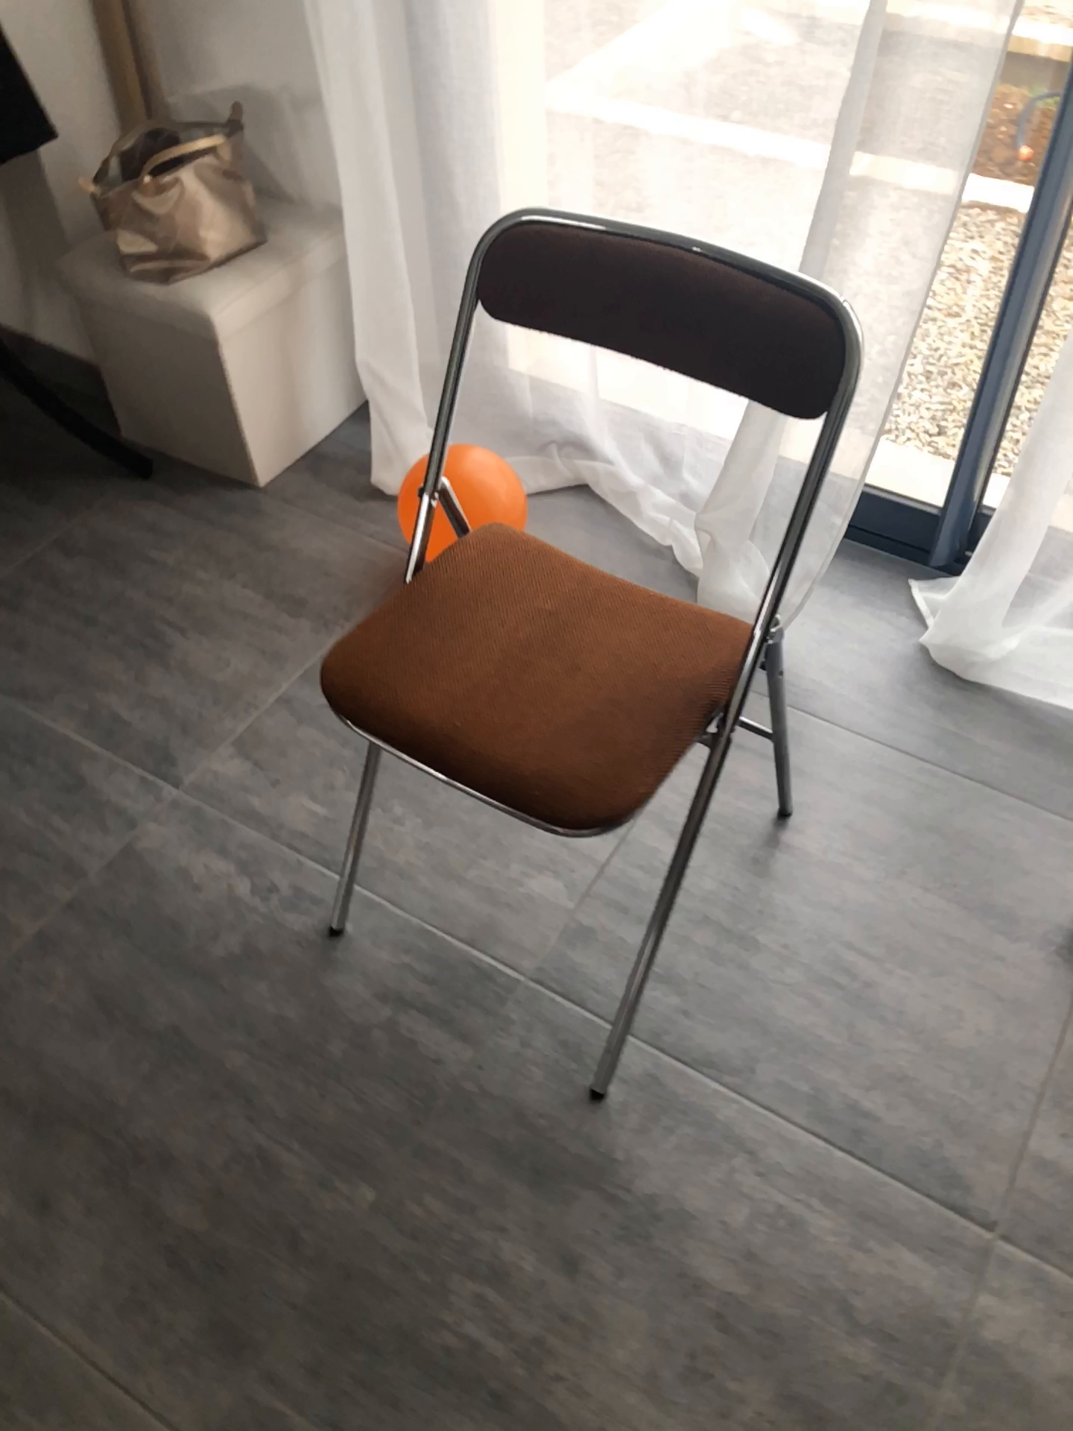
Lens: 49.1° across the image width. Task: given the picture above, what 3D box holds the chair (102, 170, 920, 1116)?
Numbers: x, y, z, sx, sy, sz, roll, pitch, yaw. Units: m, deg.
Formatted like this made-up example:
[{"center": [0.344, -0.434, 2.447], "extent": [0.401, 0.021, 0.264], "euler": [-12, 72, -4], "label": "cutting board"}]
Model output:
[{"center": [0.007, -0.071, 1.286], "extent": [0.480, 0.736, 0.553], "euler": [26, 53, 23], "label": "chair"}]
